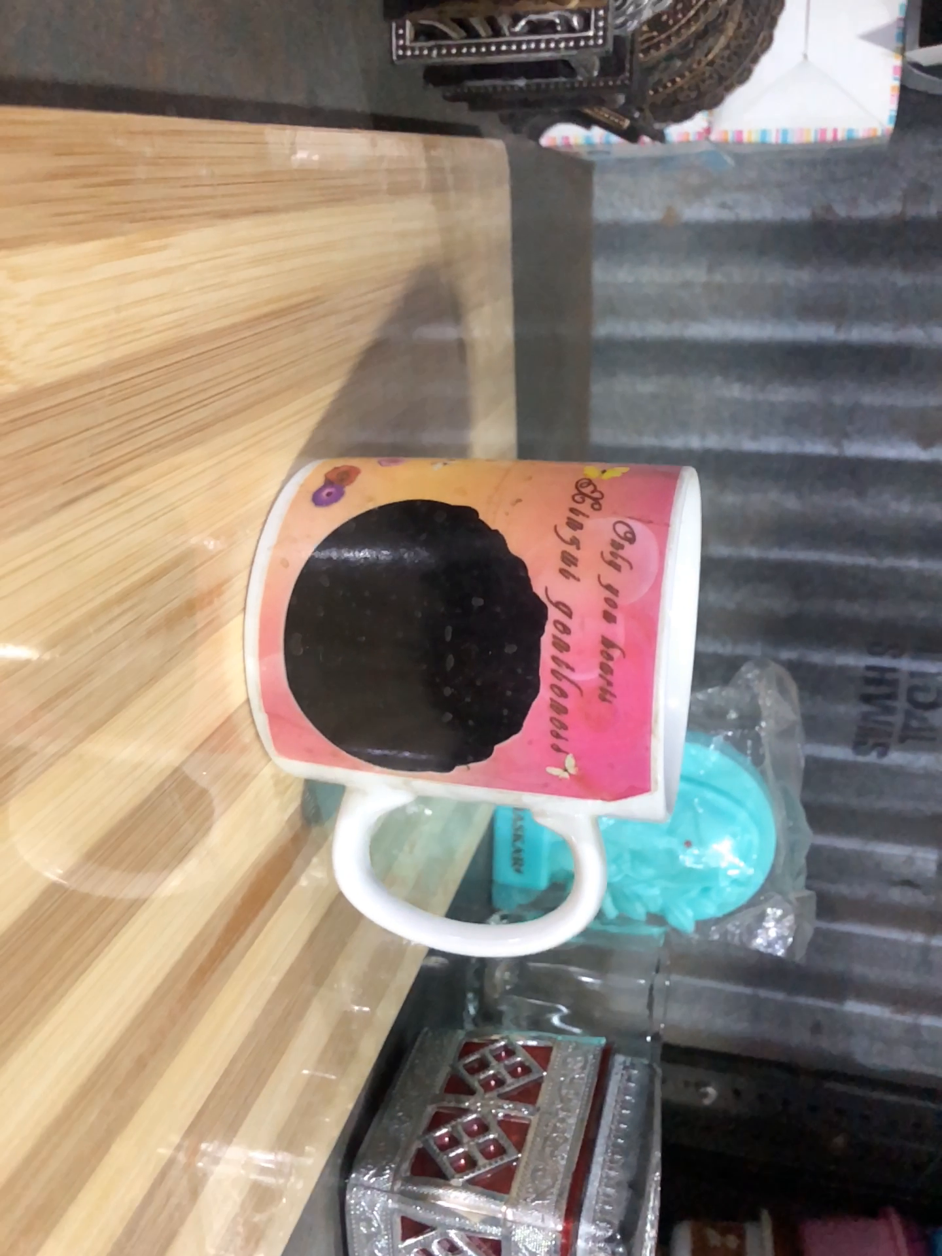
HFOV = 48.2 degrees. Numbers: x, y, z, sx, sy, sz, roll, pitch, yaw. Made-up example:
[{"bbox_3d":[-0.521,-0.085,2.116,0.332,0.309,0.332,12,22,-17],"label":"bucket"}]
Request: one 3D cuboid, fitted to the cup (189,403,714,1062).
[{"bbox_3d":[0.006,0.022,0.249,0.090,0.090,0.120,37,59,-73],"label":"cup"}]
